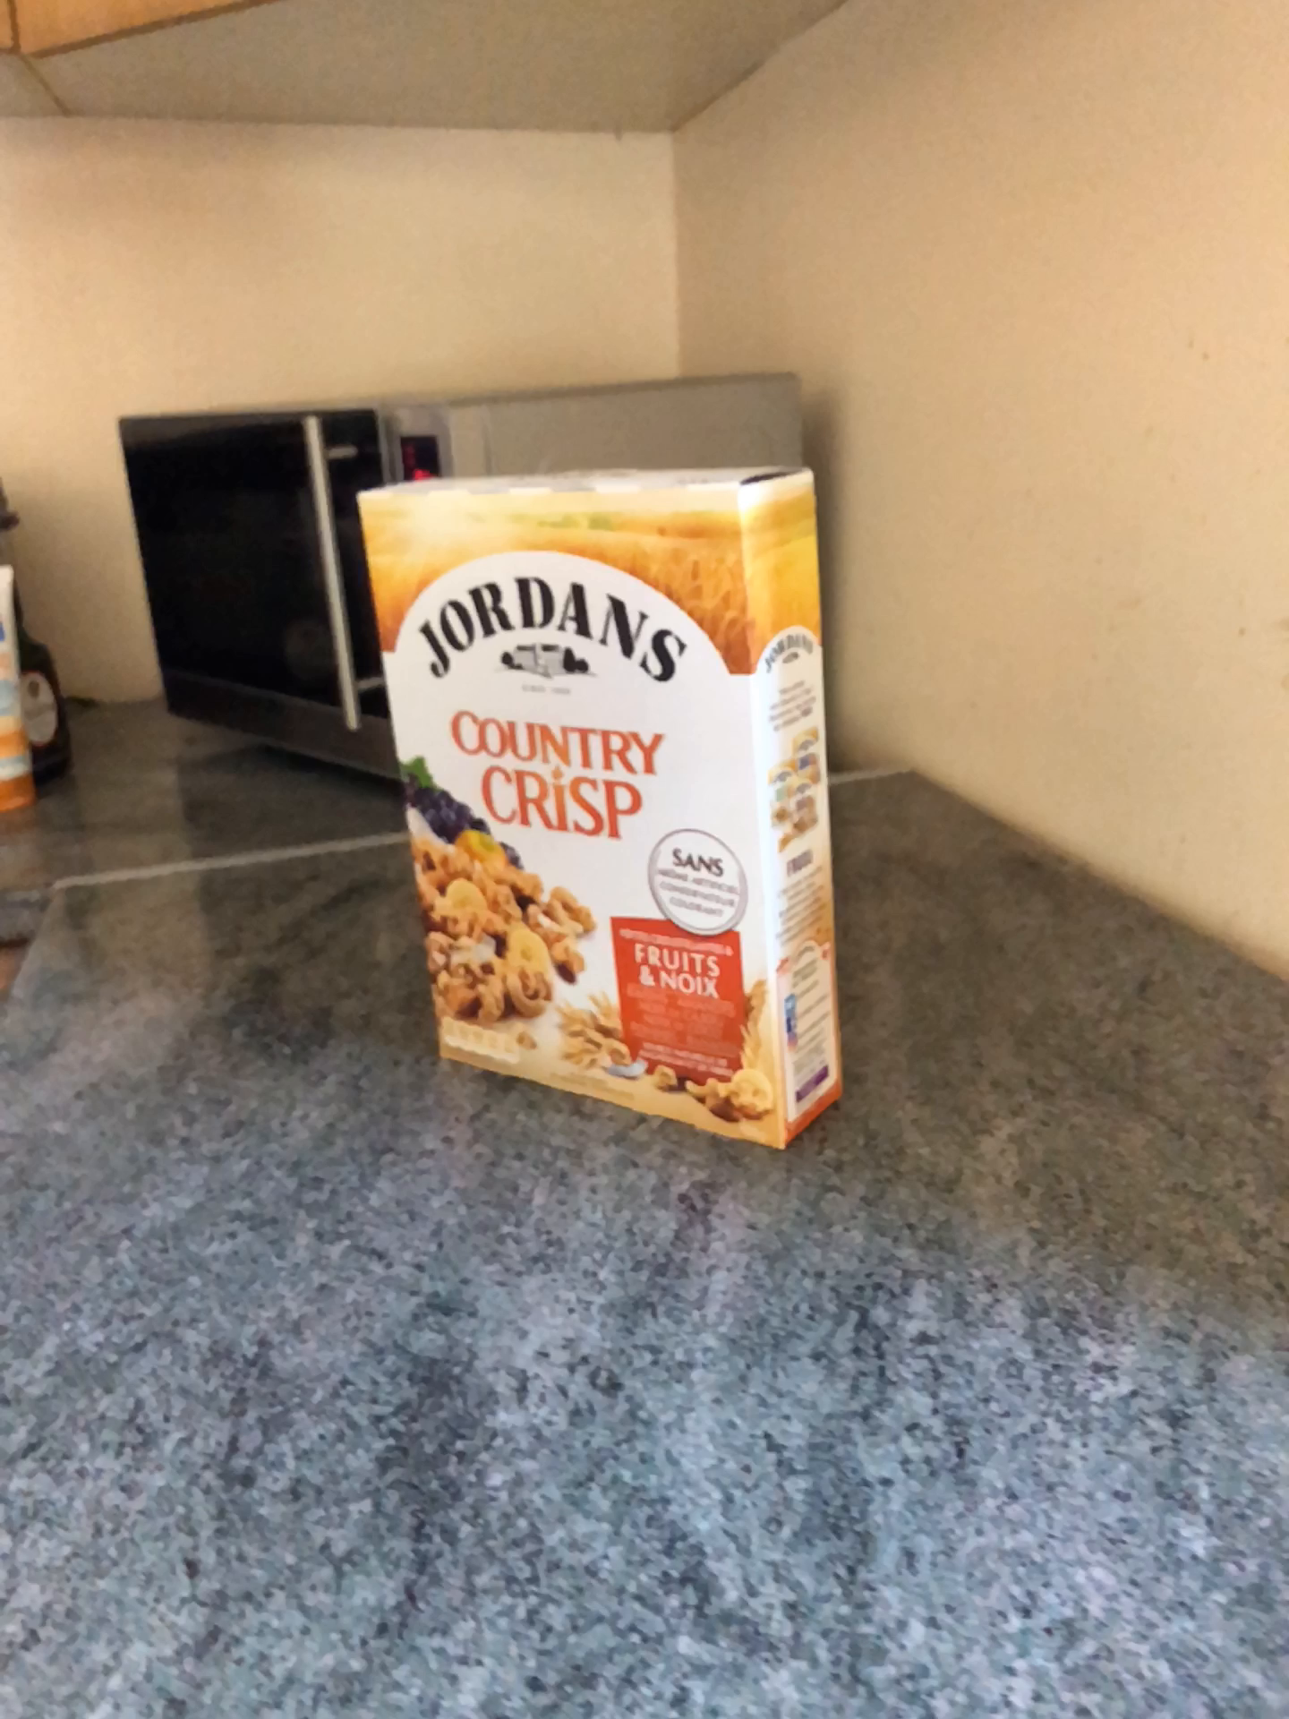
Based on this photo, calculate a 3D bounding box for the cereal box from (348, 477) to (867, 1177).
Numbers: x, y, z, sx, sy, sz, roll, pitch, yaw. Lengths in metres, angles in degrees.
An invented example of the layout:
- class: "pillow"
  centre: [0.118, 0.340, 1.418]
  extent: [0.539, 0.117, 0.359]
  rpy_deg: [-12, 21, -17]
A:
- class: "cereal box"
  centre: [-0.012, -0.021, 0.570]
  extent: [0.190, 0.249, 0.060]
  rpy_deg: [9, 23, 33]
